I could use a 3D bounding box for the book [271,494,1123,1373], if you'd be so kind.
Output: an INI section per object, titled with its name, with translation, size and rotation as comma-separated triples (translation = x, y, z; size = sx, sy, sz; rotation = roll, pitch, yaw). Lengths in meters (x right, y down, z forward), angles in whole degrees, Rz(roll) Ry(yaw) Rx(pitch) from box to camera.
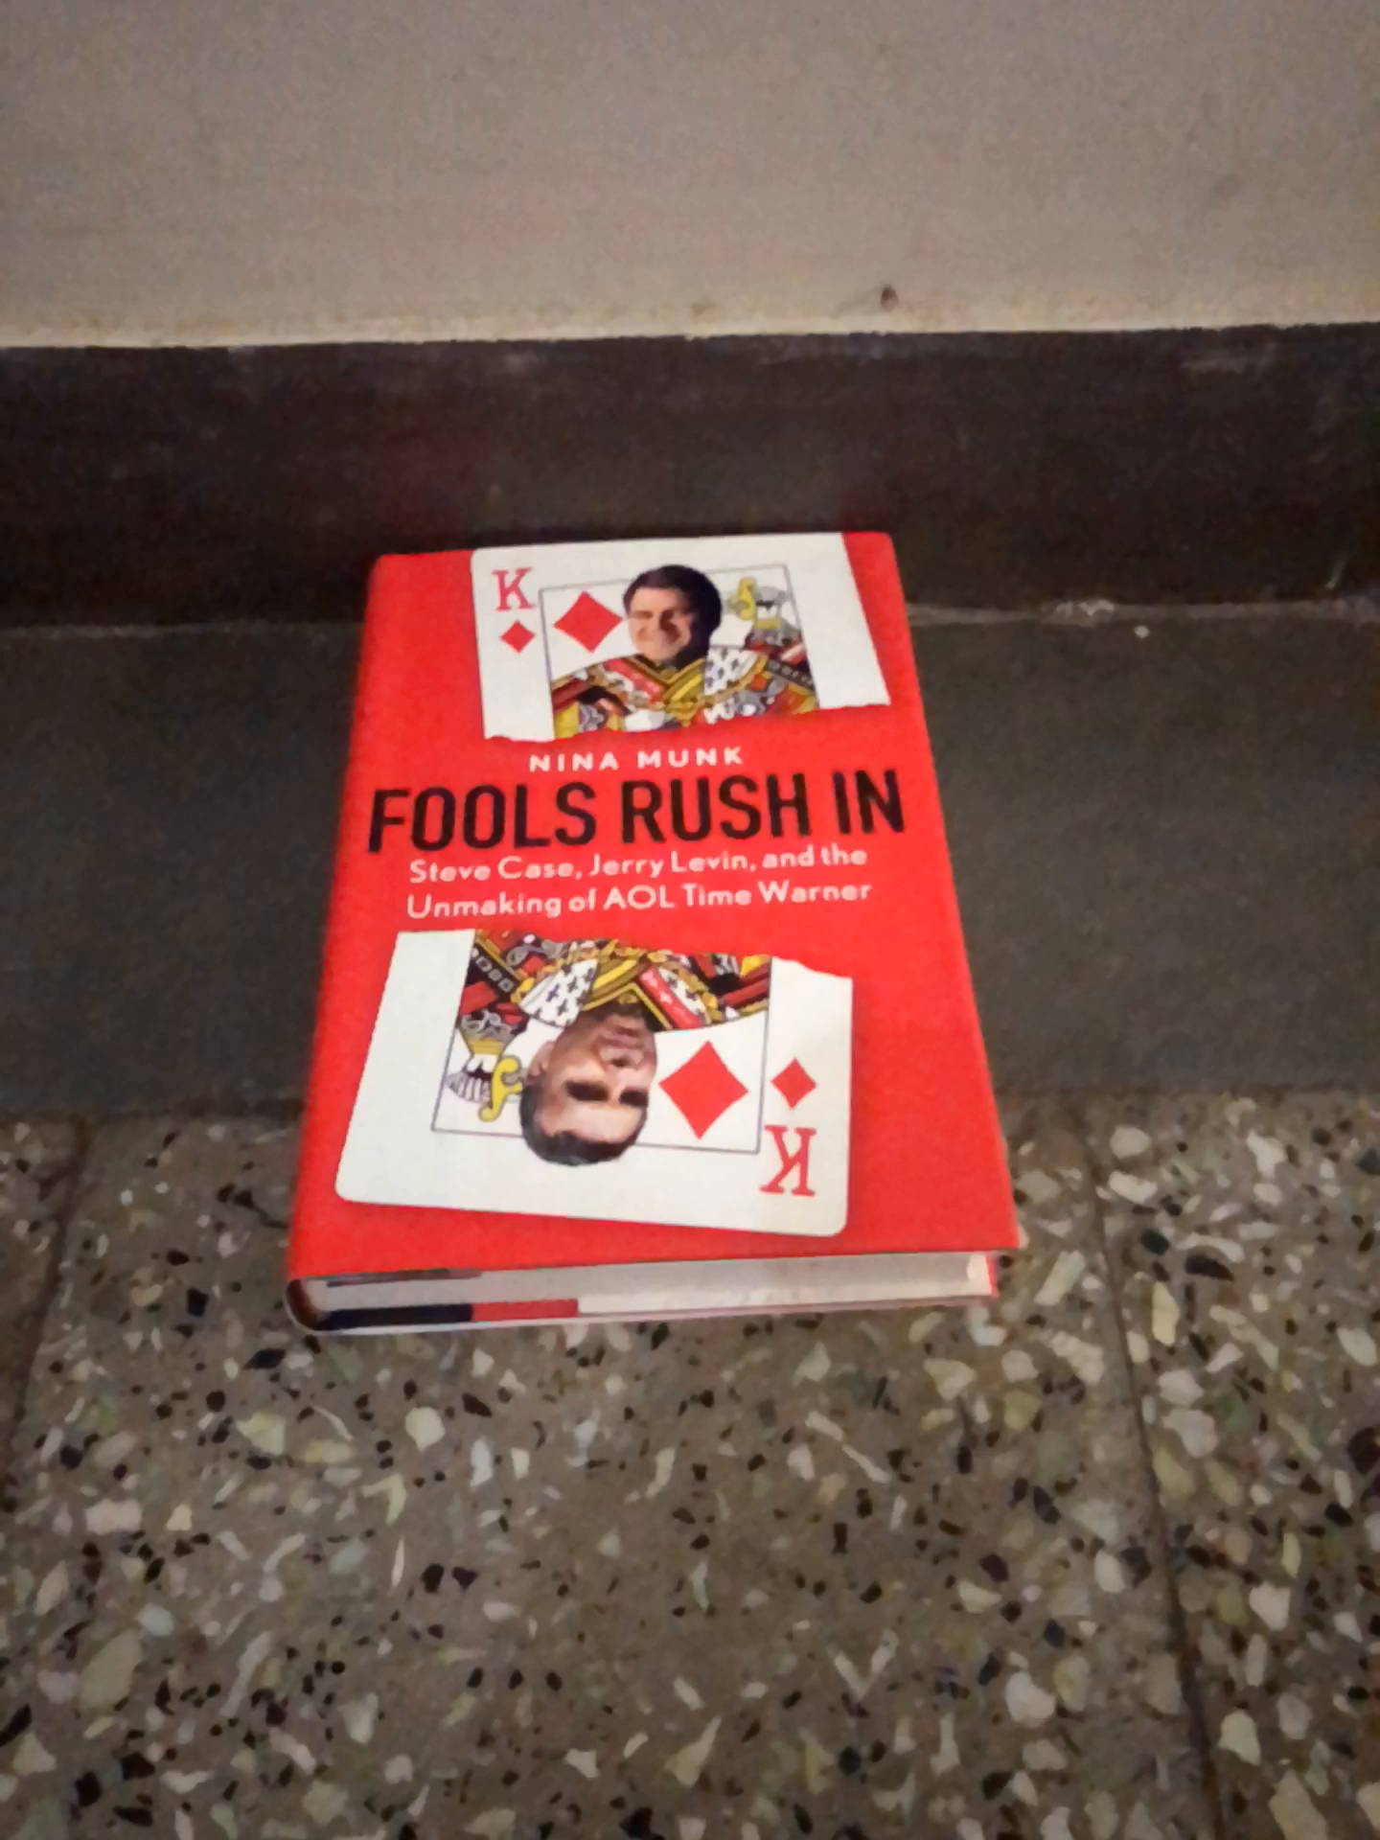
[book]
translation = -0.005, -0.018, 0.420
size = 0.180, 0.030, 0.271
rotation = -2, 52, -2
